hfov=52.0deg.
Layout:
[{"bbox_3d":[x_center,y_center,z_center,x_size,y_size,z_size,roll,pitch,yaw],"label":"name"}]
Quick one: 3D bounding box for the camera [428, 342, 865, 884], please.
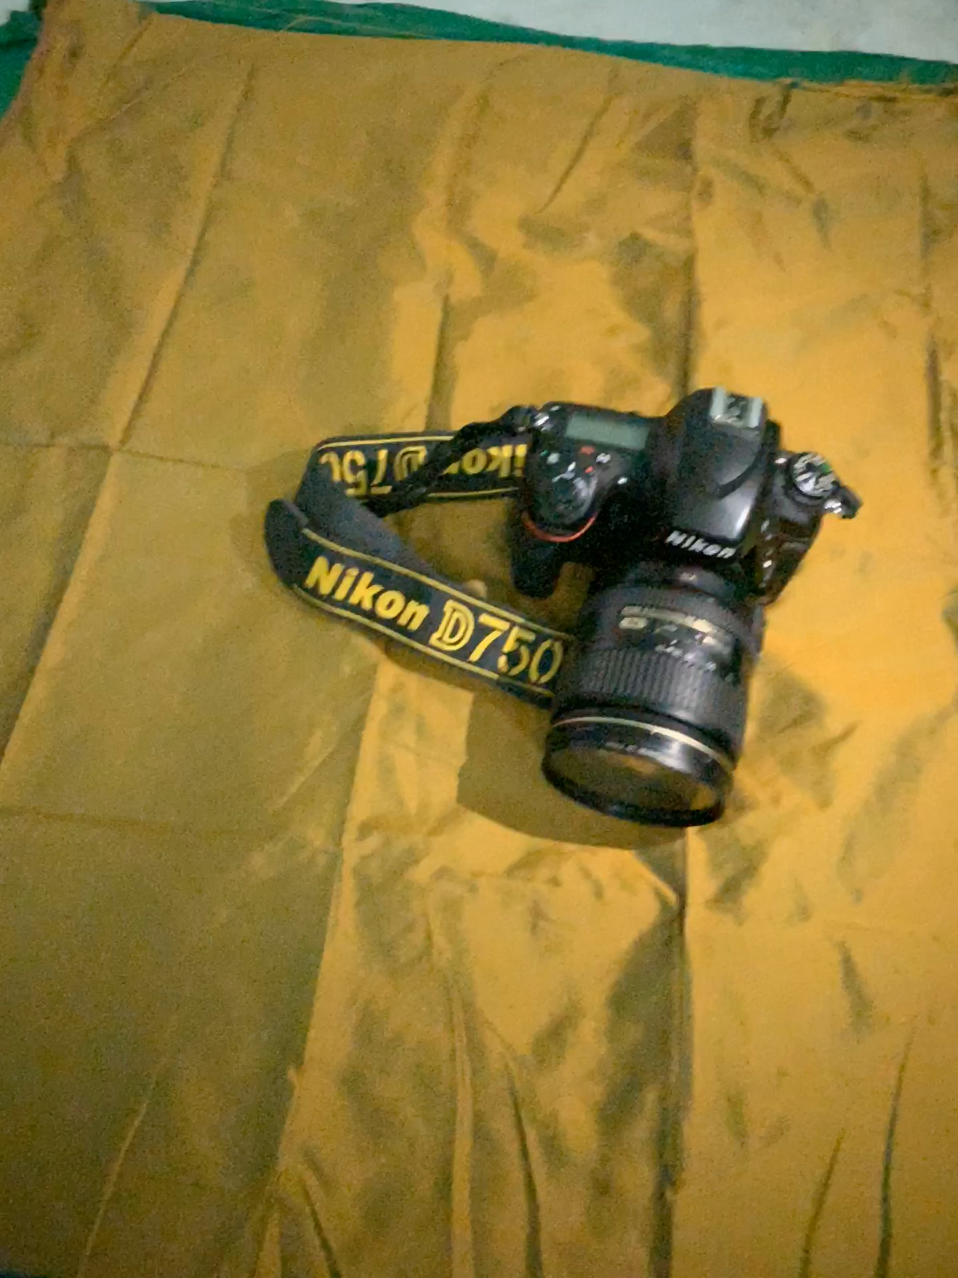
[{"bbox_3d":[0.074,-0.013,0.441,0.150,0.101,0.190,13,63,4],"label":"camera"}]
